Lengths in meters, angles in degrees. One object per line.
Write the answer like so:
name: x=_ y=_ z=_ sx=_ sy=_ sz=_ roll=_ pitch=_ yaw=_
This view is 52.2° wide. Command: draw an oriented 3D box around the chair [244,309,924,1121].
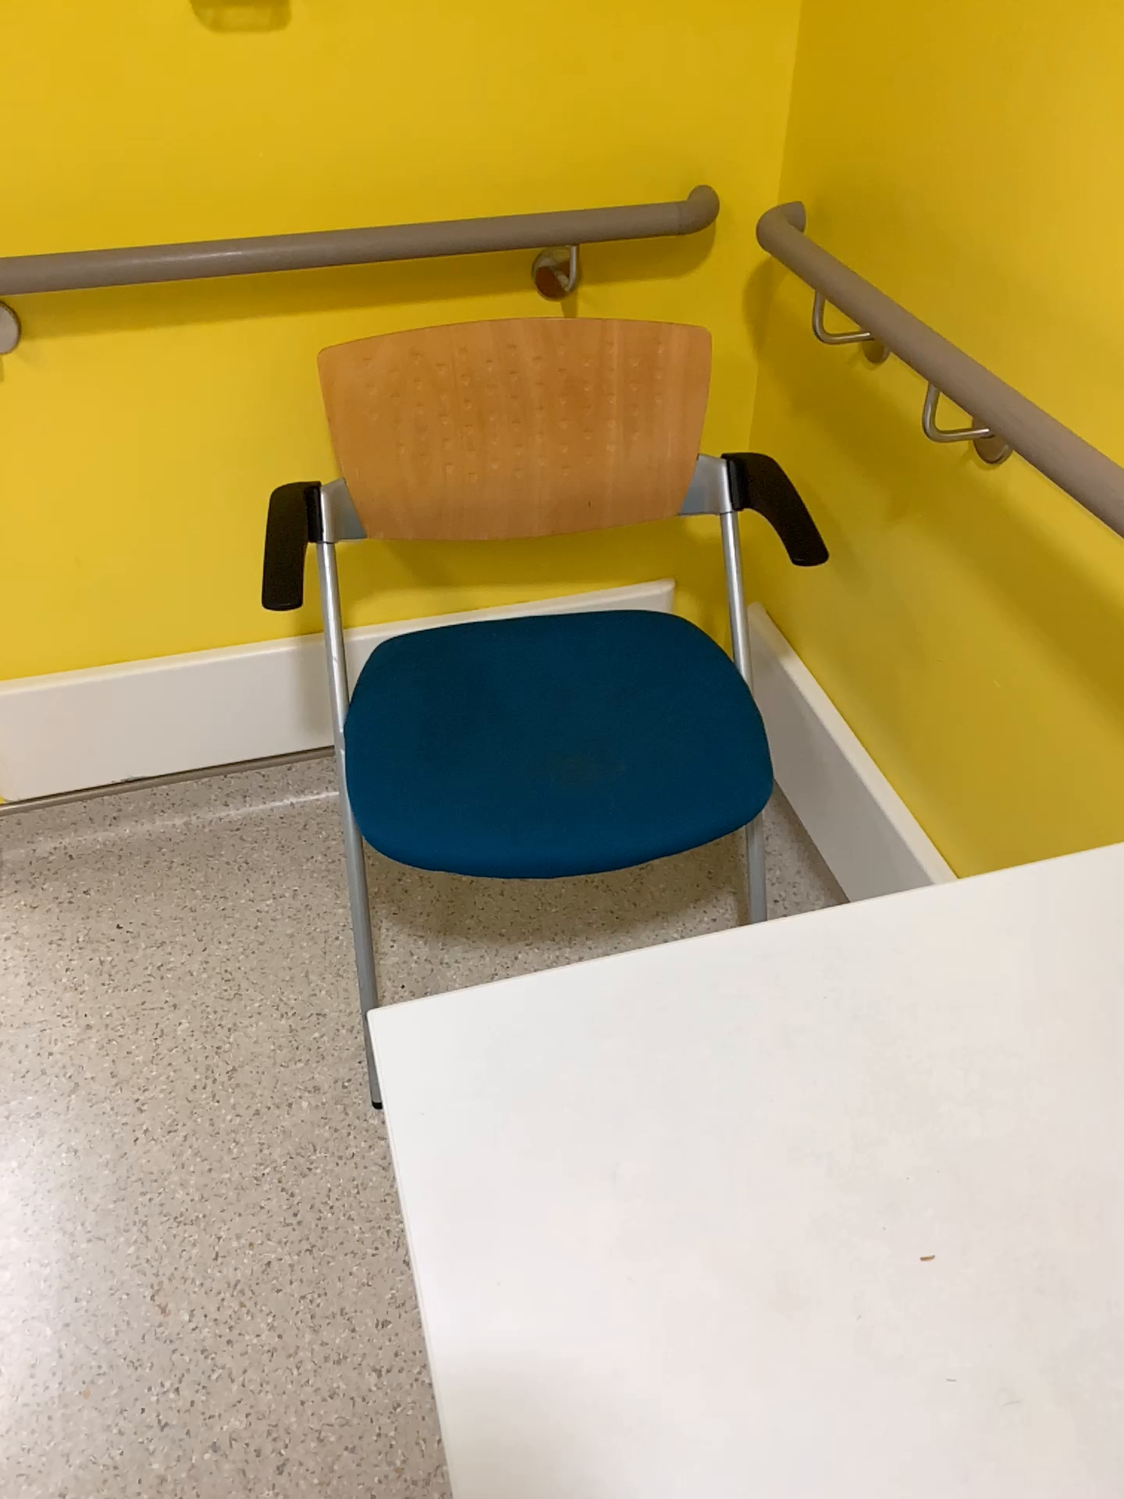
chair: x=0.002 y=-0.042 z=1.433 sx=0.570 sy=0.779 sz=0.595 roll=-3 pitch=40 yaw=-3
